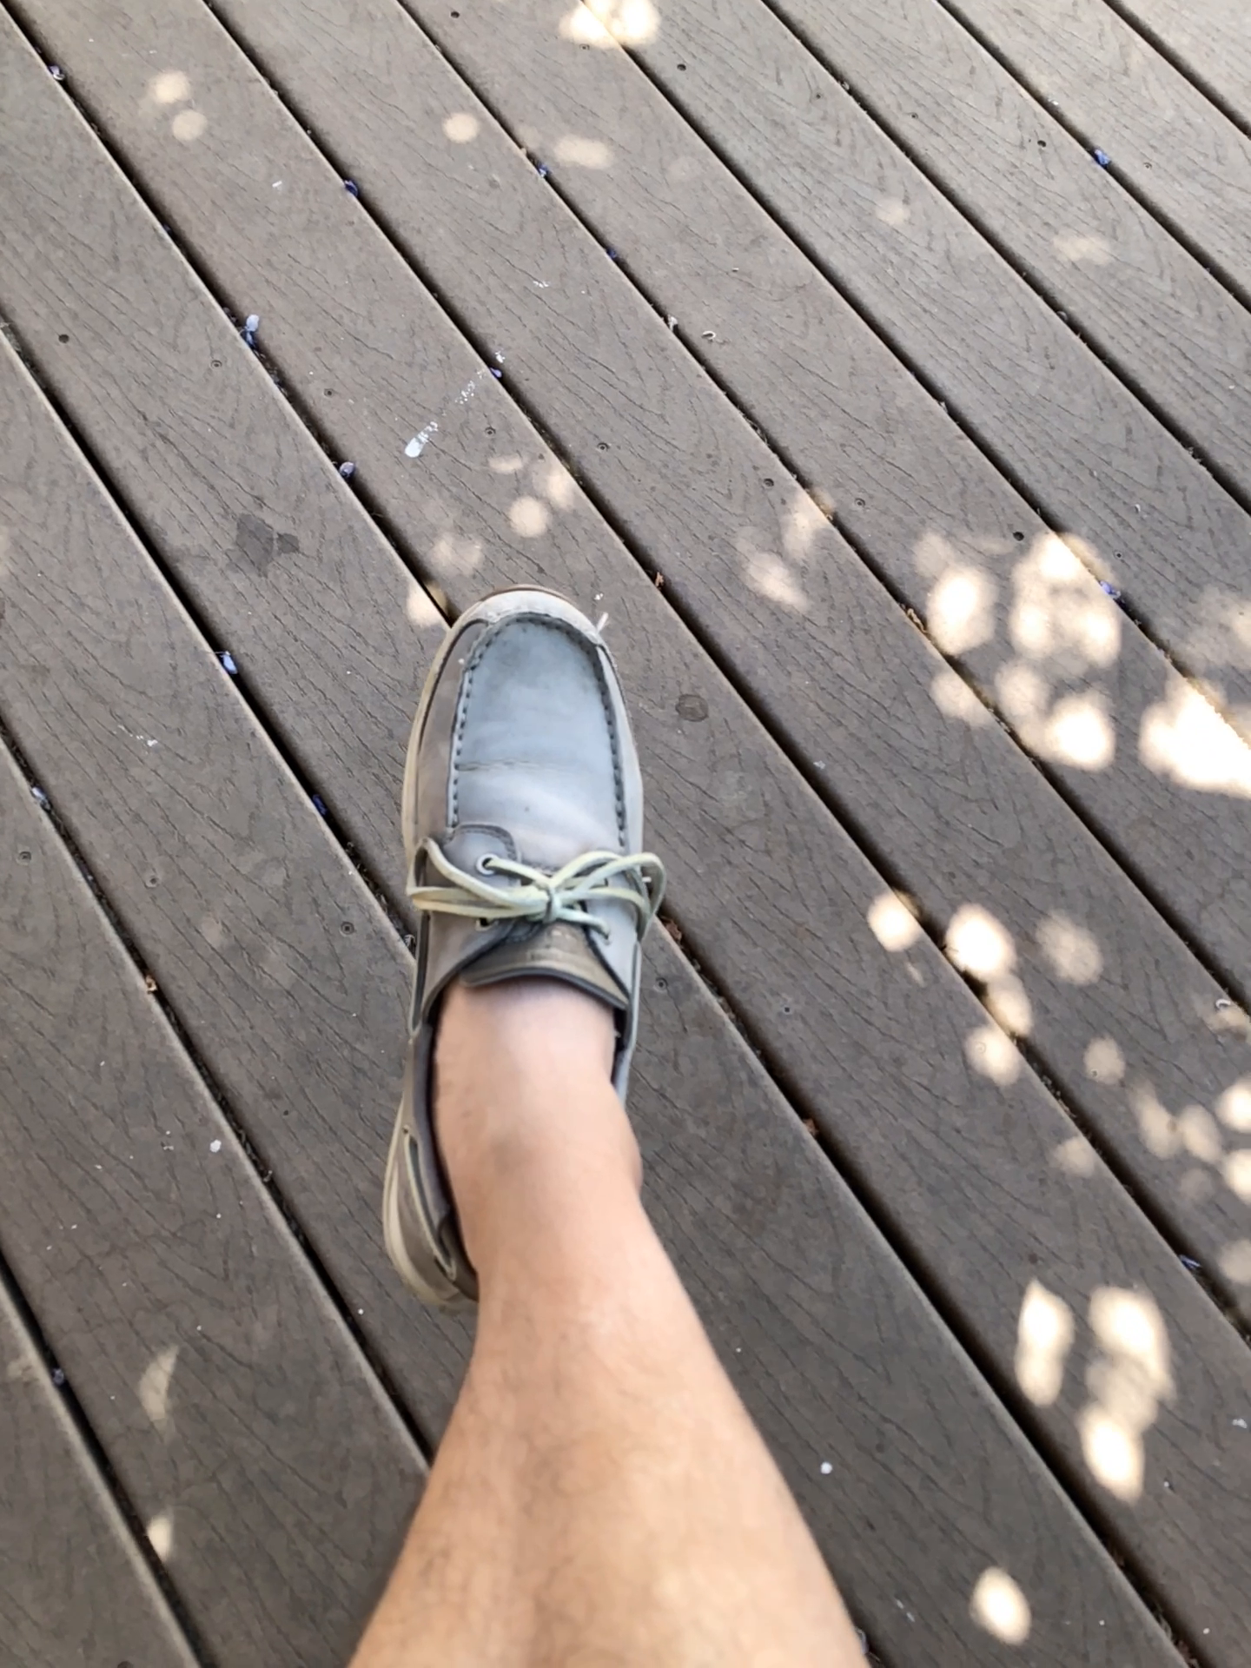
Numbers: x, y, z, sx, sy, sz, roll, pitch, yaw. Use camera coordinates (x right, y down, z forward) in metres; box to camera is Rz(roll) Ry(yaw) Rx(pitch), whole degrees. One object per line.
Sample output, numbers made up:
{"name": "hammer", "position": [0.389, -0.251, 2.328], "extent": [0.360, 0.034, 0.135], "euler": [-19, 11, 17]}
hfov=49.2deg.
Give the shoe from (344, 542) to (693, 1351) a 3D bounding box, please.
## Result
{"name": "shoe", "position": [-0.041, 0.044, 0.568], "extent": [0.115, 0.085, 0.306], "euler": [4, 79, -4]}
